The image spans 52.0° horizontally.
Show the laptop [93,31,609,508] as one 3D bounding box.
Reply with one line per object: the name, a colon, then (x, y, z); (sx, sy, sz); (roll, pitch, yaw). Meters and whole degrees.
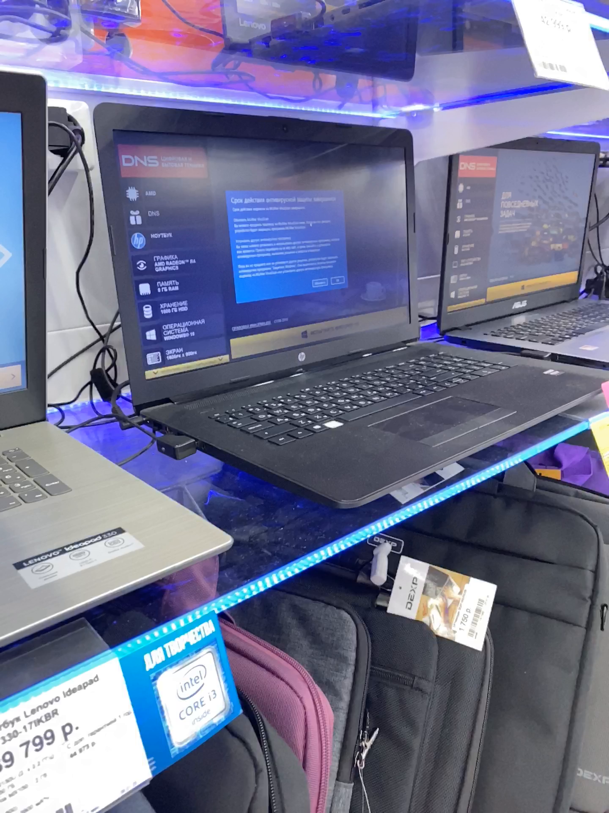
laptop: (0.081, -0.138, 0.587); (0.420, 0.260, 0.294); (-16, 22, -40)
